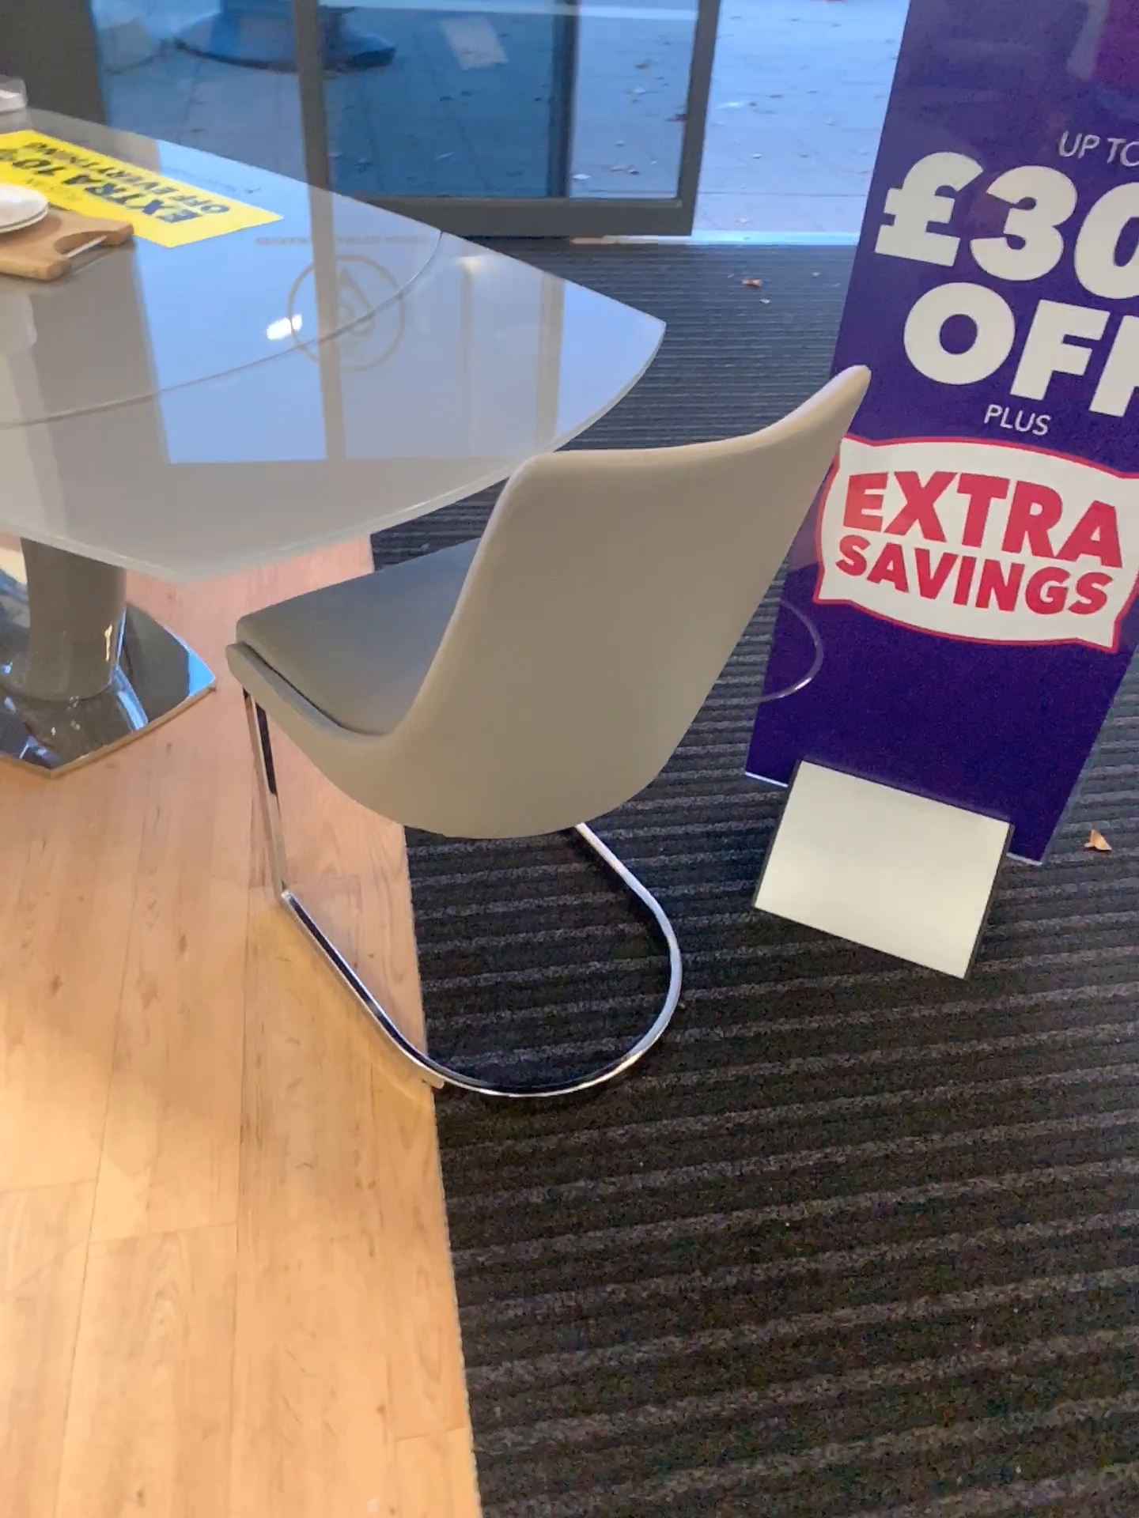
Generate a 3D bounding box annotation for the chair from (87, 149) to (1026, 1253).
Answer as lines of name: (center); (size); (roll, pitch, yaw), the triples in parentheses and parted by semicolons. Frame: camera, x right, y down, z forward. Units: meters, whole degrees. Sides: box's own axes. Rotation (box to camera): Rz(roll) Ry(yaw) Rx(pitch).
chair: (-0.070, -0.086, 1.305); (0.532, 0.901, 0.684); (-23, 47, -28)
